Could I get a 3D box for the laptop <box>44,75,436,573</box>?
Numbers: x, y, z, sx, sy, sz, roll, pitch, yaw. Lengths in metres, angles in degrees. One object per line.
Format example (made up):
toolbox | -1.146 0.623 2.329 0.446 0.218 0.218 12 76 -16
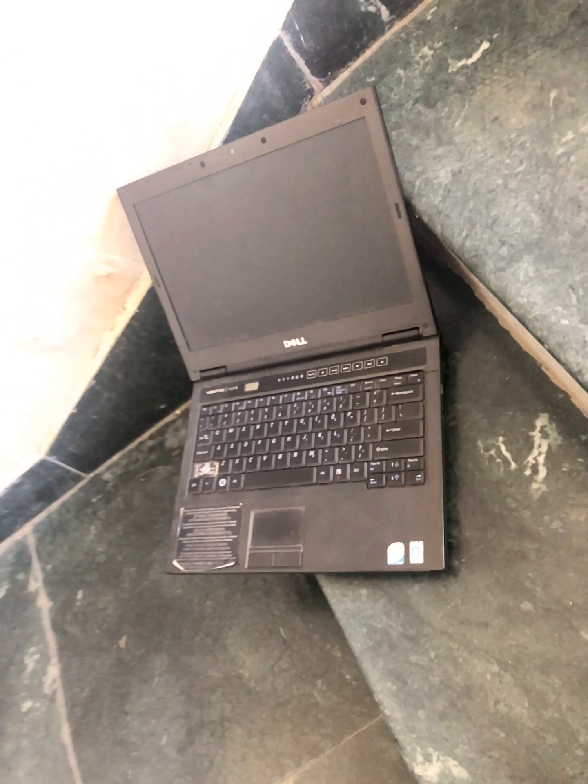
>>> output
laptop | -0.035 -0.040 0.632 0.302 0.169 0.387 -9 64 29
